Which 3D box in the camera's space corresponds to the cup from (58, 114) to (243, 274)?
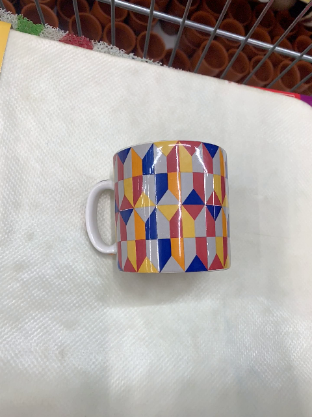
[{"bbox_3d":[0.002,-0.003,0.216,0.100,0.080,0.080,-3,85,19],"label":"cup"}]
